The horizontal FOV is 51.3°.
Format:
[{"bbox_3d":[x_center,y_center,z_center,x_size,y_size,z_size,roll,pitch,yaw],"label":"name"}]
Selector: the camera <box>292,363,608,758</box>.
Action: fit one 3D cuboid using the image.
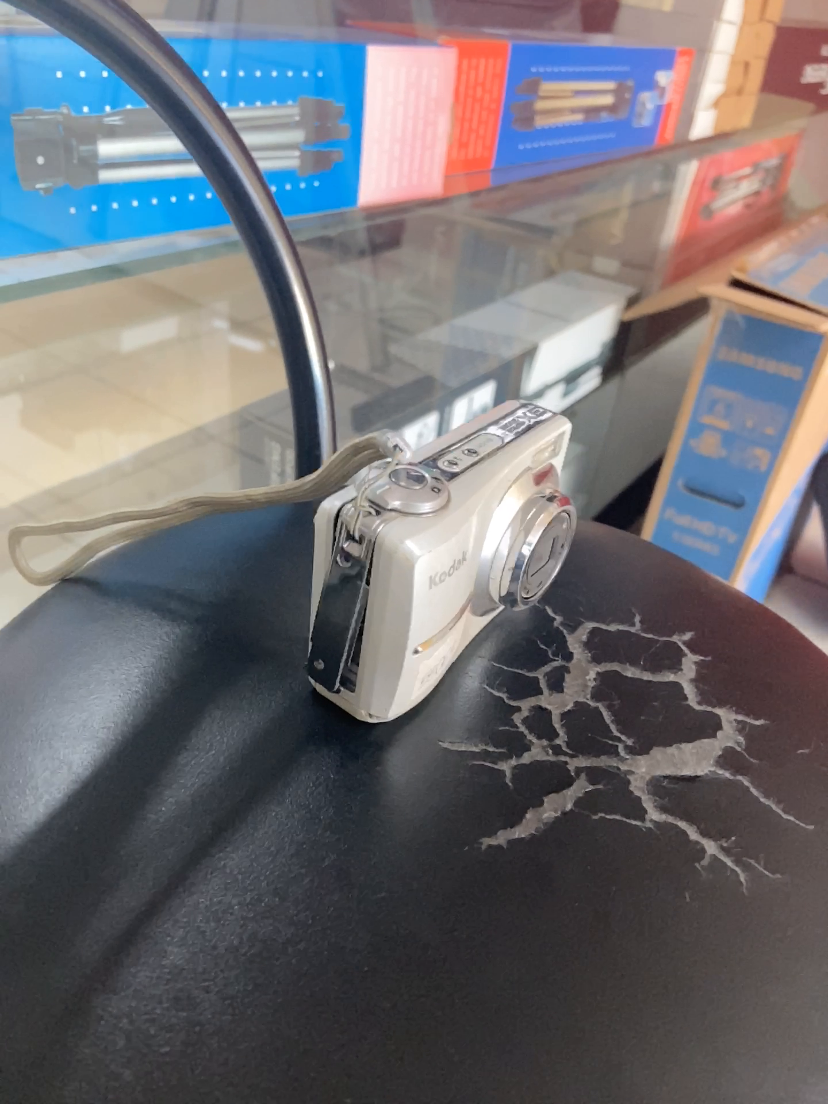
[{"bbox_3d":[0.011,-0.002,0.243,0.040,0.070,0.091,24,38,24],"label":"camera"}]
